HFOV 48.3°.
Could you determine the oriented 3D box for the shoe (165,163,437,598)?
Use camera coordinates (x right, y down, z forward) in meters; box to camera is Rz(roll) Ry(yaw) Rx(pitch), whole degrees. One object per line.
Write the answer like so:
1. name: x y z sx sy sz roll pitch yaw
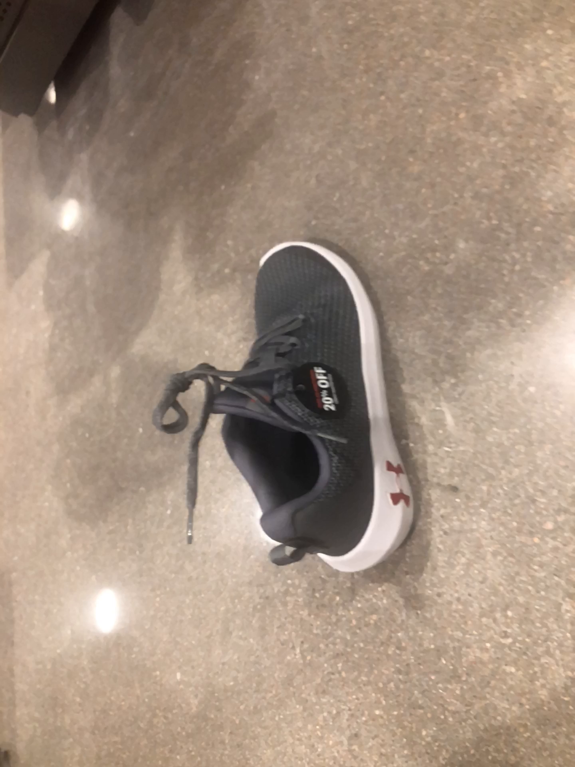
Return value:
1. shoe: -0.004 -0.001 0.448 0.116 0.084 0.265 -32 58 37
